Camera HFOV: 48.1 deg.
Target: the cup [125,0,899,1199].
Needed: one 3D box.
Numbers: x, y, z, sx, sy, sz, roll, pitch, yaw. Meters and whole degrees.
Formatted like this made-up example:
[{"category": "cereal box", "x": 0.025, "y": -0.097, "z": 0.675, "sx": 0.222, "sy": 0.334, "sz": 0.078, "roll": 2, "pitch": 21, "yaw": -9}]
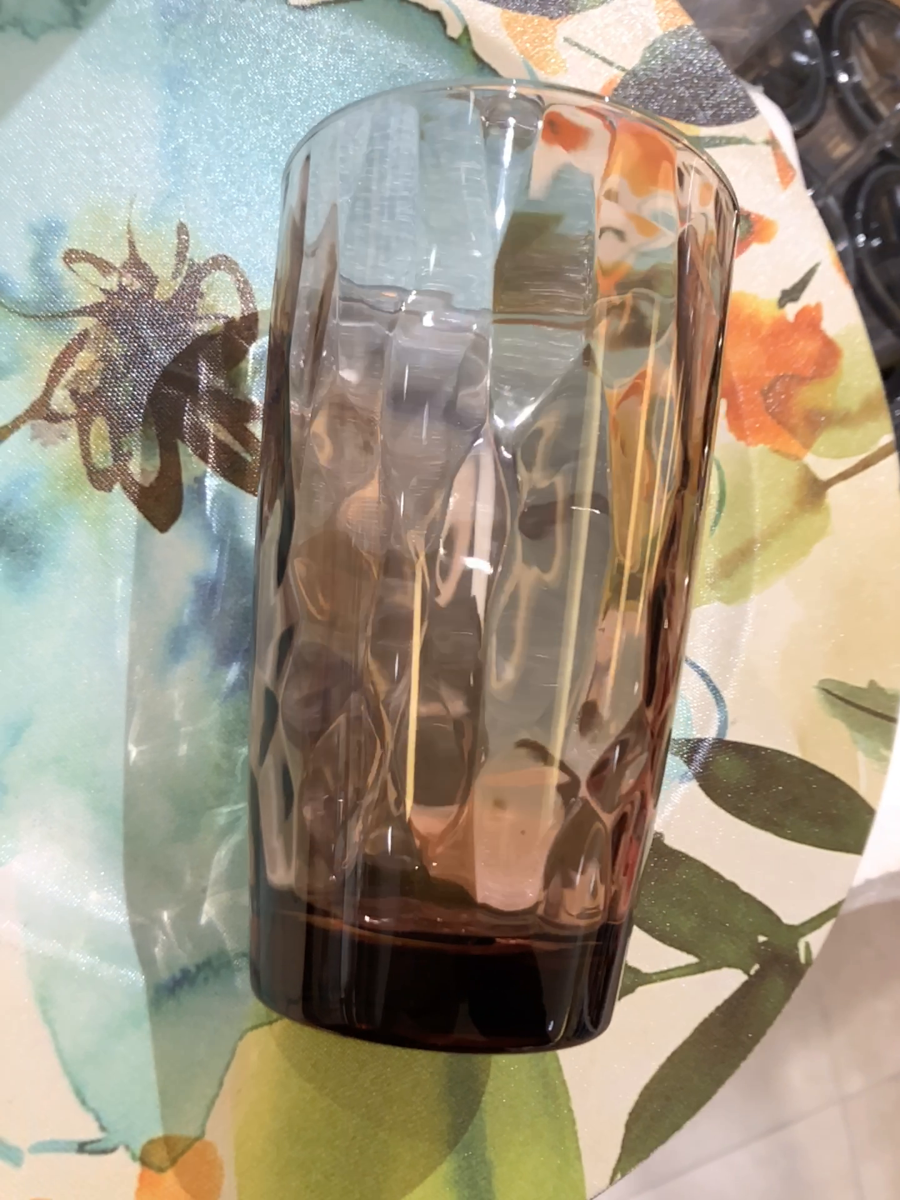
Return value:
[{"category": "cup", "x": 0.009, "y": 0.000, "z": 0.168, "sx": 0.090, "sy": 0.080, "sz": 0.150, "roll": 10, "pitch": 73, "yaw": -26}]
